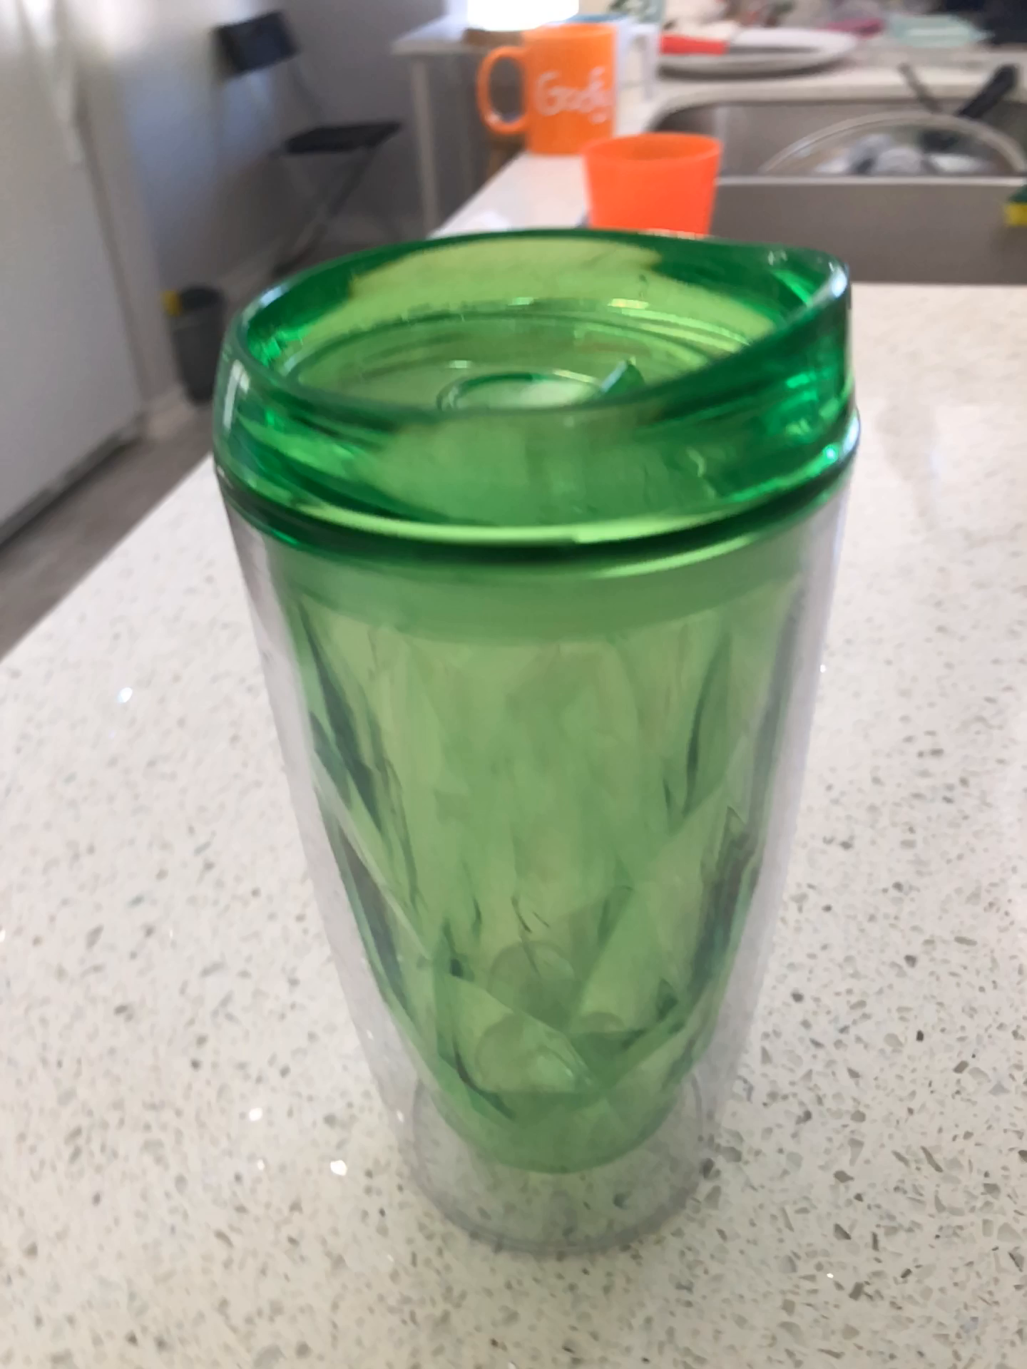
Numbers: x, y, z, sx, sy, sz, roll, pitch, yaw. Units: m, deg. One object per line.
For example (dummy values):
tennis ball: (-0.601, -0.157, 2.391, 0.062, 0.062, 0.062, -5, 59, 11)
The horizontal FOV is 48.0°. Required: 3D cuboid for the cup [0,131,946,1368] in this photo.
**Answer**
cup: (0.002, 0.008, 0.184, 0.090, 0.159, 0.090, -2, 34, 2)
